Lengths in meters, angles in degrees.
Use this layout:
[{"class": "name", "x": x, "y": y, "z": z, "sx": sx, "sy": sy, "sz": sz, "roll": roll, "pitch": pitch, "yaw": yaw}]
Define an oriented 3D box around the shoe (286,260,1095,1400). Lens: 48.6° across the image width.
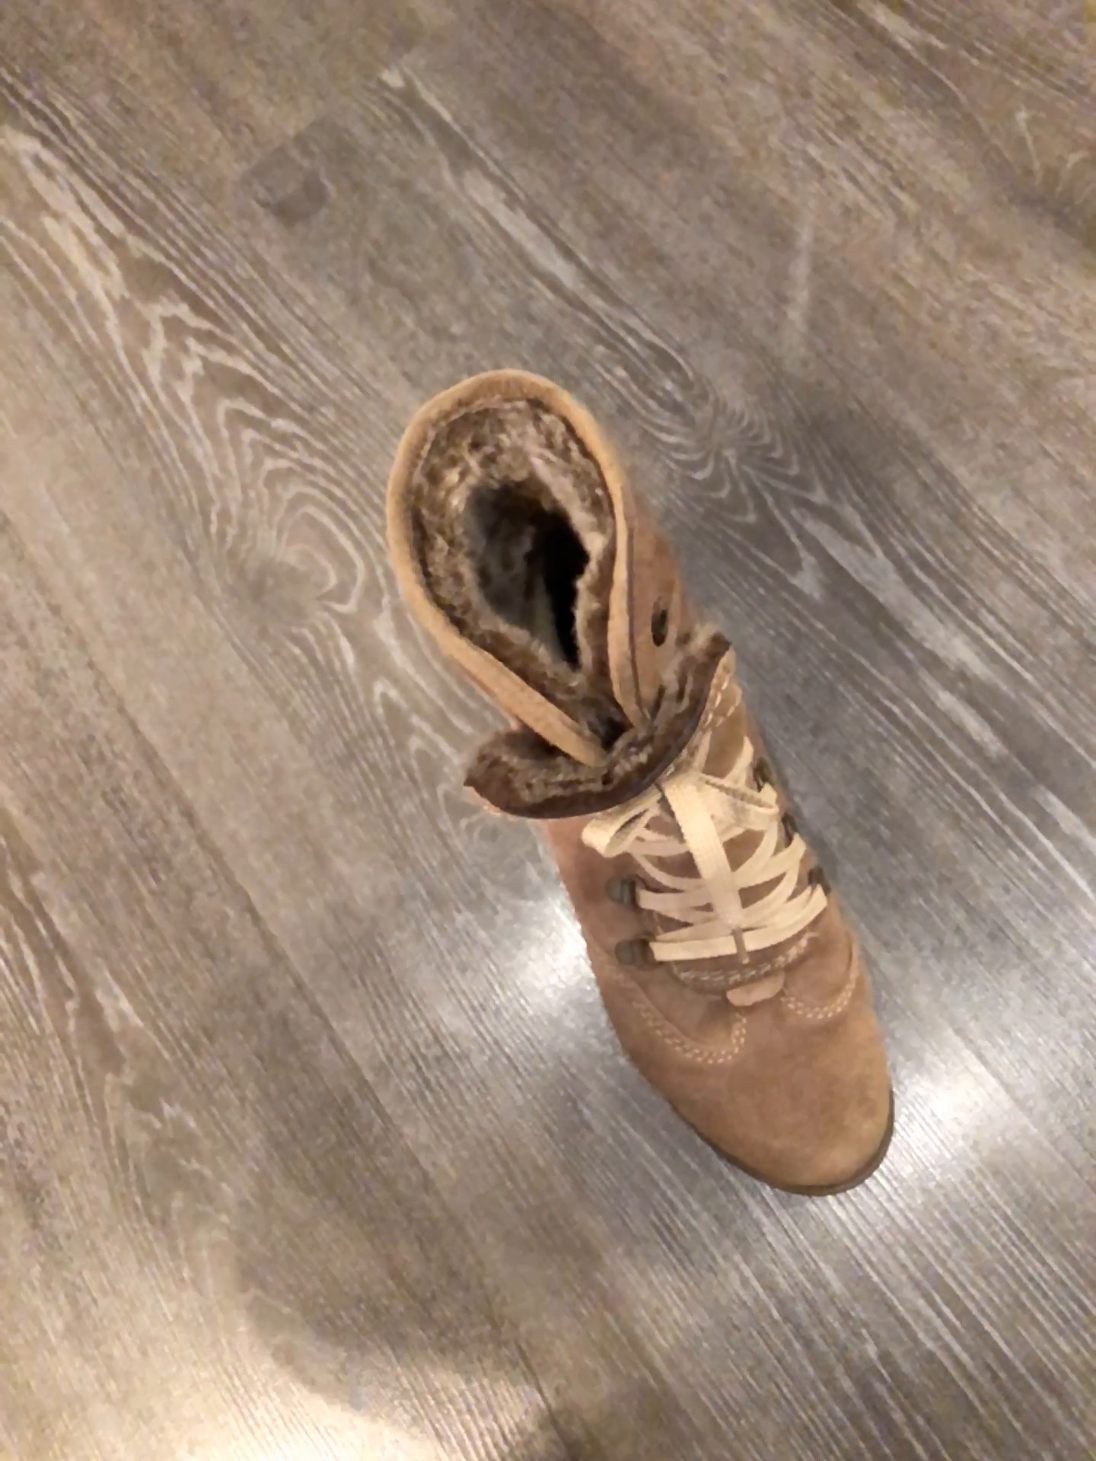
[{"class": "shoe", "x": 0.036, "y": 0.032, "z": 0.361, "sx": 0.100, "sy": 0.190, "sz": 0.240, "roll": -23, "pitch": 70, "yaw": 3}]
